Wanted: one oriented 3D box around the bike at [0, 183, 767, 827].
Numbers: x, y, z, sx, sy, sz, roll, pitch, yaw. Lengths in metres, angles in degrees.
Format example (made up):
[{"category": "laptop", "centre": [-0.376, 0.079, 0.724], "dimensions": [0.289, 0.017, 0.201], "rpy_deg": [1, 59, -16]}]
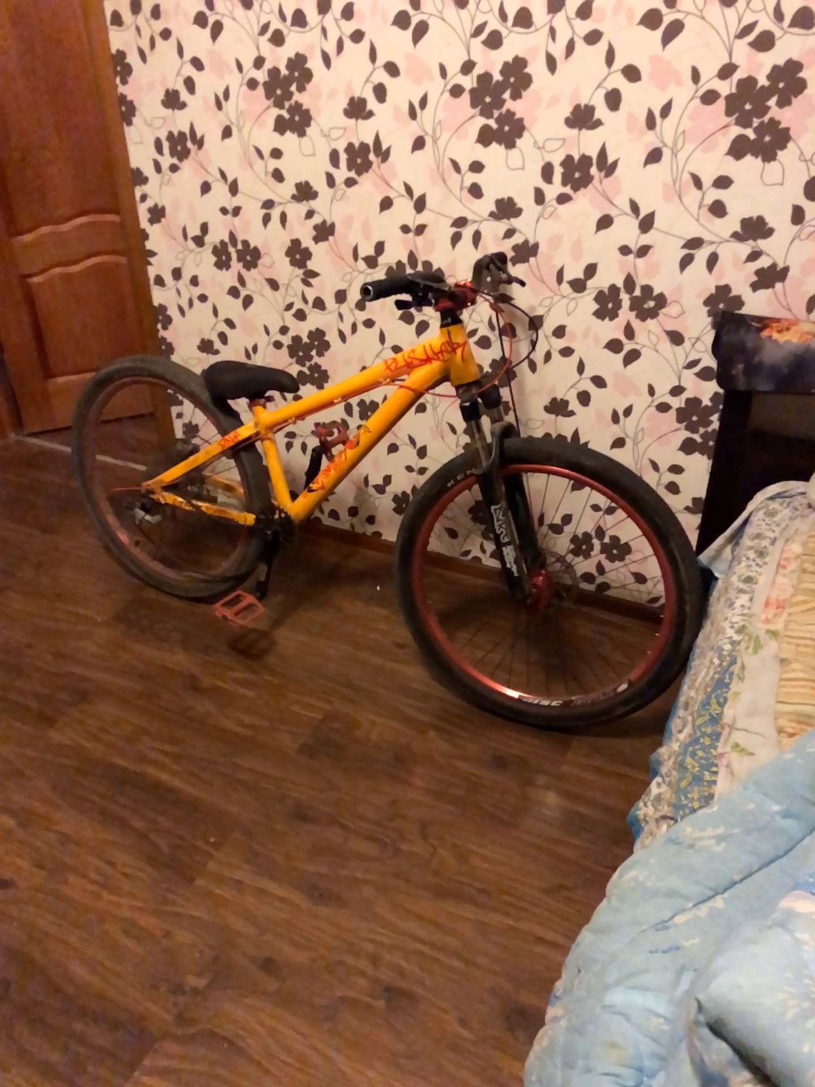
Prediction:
[{"category": "bike", "centre": [-0.203, -0.224, 2.028], "dimensions": [1.677, 1.005, 0.663], "rpy_deg": [13, 34, 26]}]
